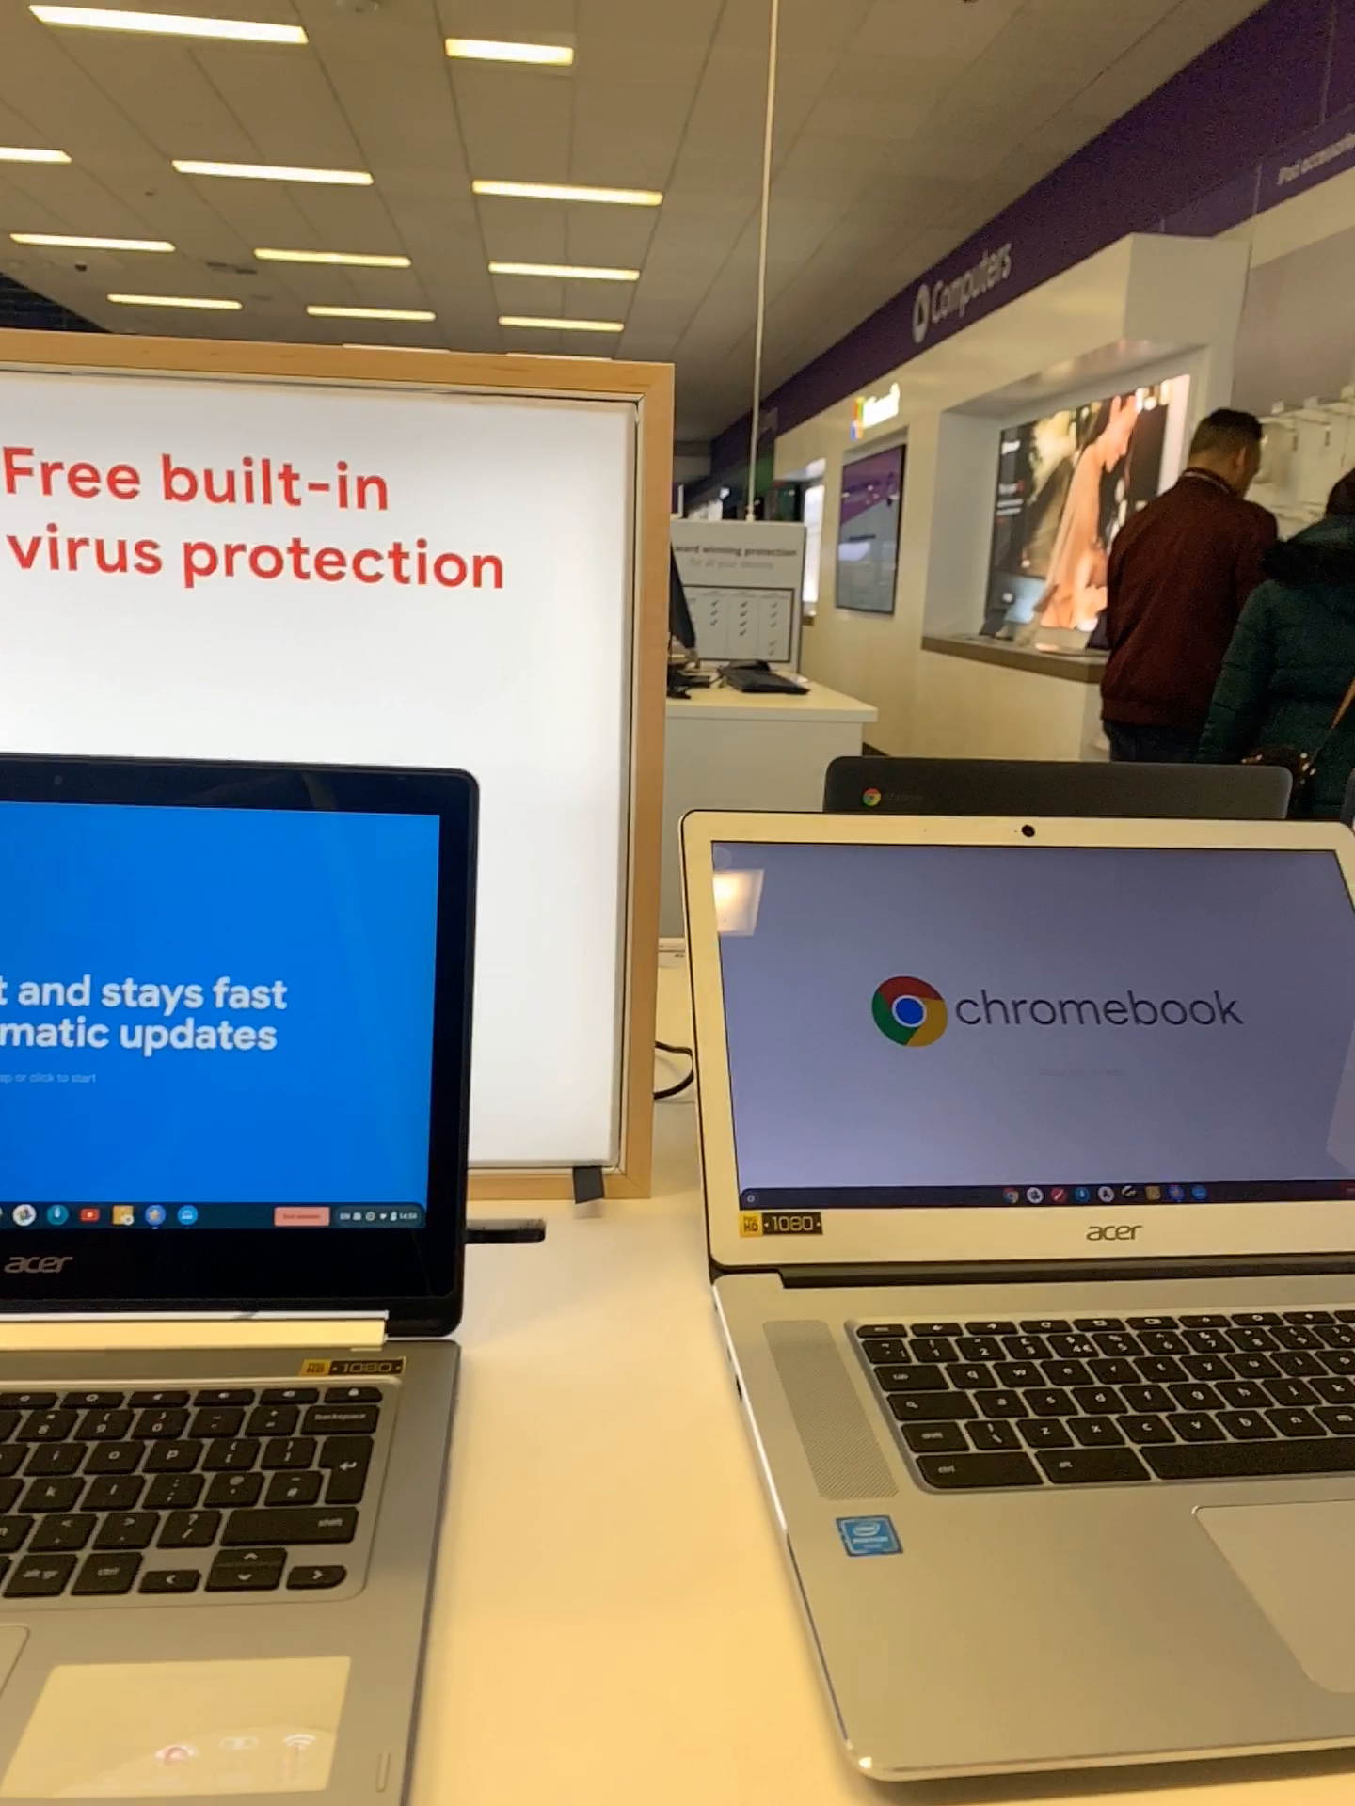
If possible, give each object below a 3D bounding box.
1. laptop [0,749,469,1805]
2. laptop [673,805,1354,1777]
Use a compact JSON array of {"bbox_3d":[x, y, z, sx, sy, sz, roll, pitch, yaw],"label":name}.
[{"bbox_3d":[-0.228,0.083,0.430,0.307,0.216,0.278,1,13,-7],"label":"laptop"},{"bbox_3d":[0.212,0.087,0.570,0.376,0.175,0.427,0,14,-8],"label":"laptop"}]
